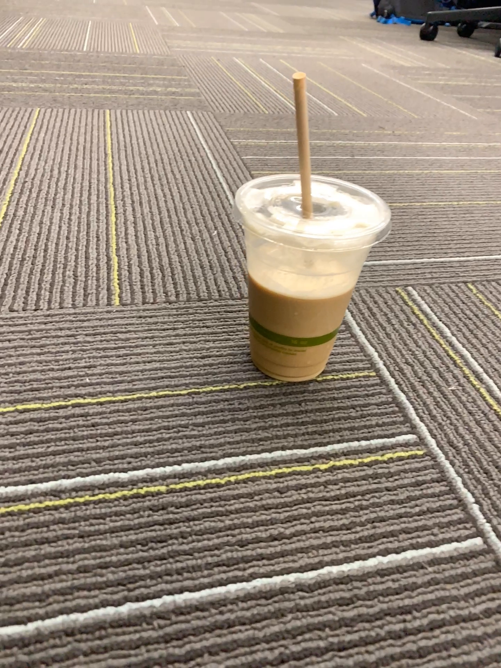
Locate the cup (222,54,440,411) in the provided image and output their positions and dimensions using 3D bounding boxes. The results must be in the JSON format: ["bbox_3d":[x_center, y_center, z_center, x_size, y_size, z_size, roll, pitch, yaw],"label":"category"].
[{"bbox_3d":[0.037,-0.058,0.321,0.090,0.189,0.091,3,36,-2],"label":"cup"}]
